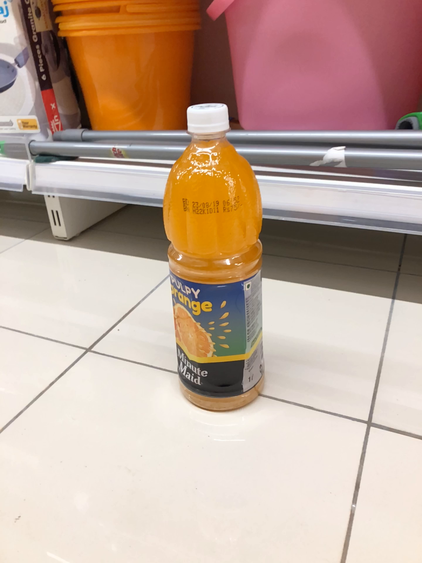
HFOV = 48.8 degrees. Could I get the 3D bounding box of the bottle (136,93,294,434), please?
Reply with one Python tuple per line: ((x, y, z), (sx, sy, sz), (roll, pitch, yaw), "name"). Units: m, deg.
((0.007, -0.012, 0.404), (0.080, 0.268, 0.090), (-19, 31, -28), "bottle")
